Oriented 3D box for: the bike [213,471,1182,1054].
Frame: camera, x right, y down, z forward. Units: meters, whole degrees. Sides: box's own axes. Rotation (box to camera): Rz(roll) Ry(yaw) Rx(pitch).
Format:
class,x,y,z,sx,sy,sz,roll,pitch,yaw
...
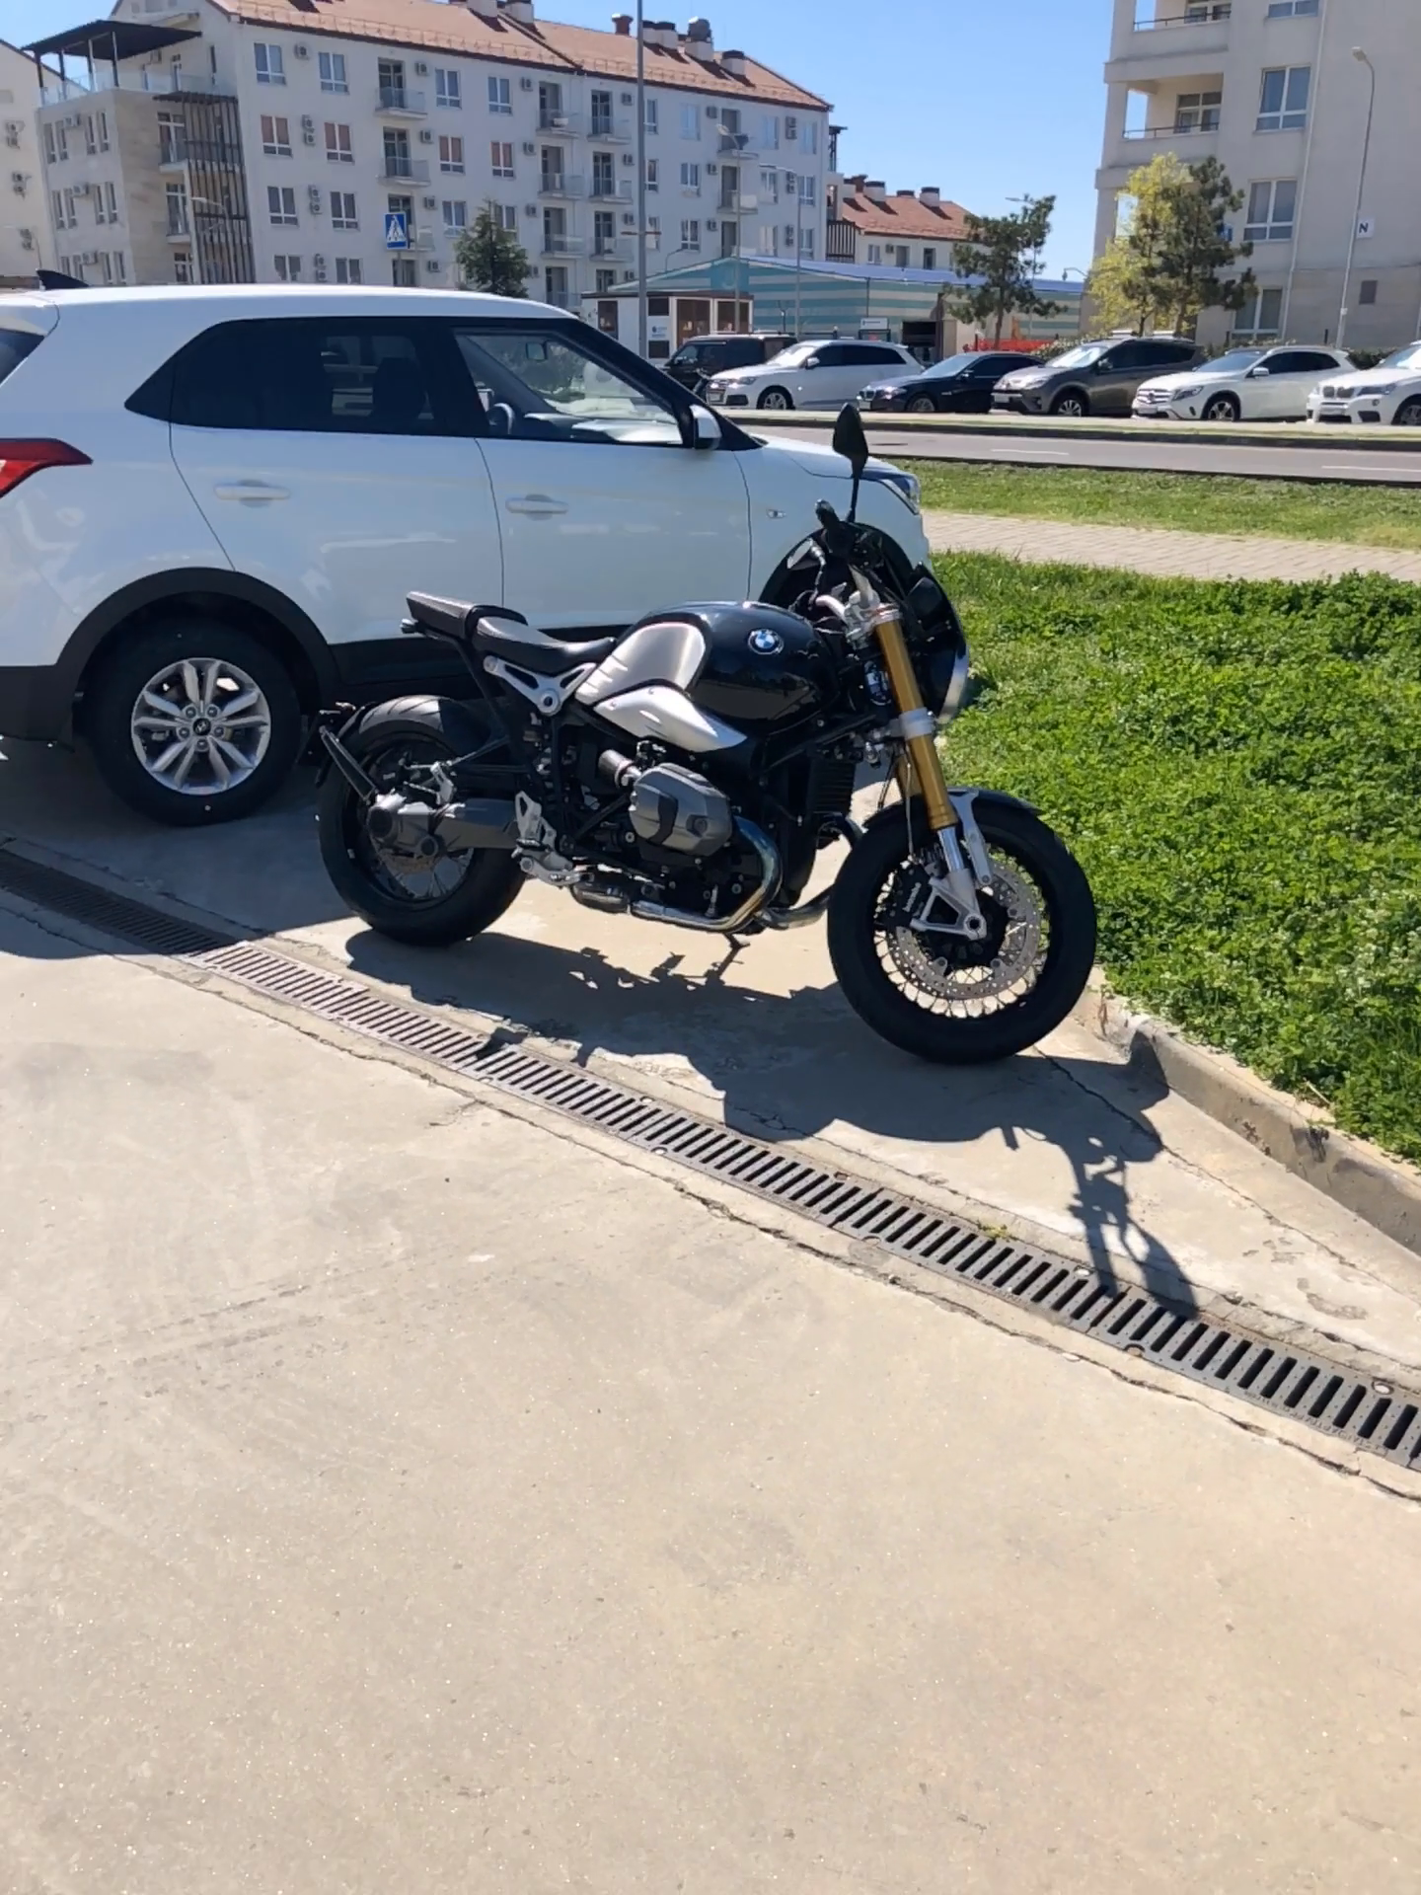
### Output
class,x,y,z,sx,sy,sz,roll,pitch,yaw
bike,-0.035,-0.503,3.440,1.833,1.013,0.779,8,21,22
